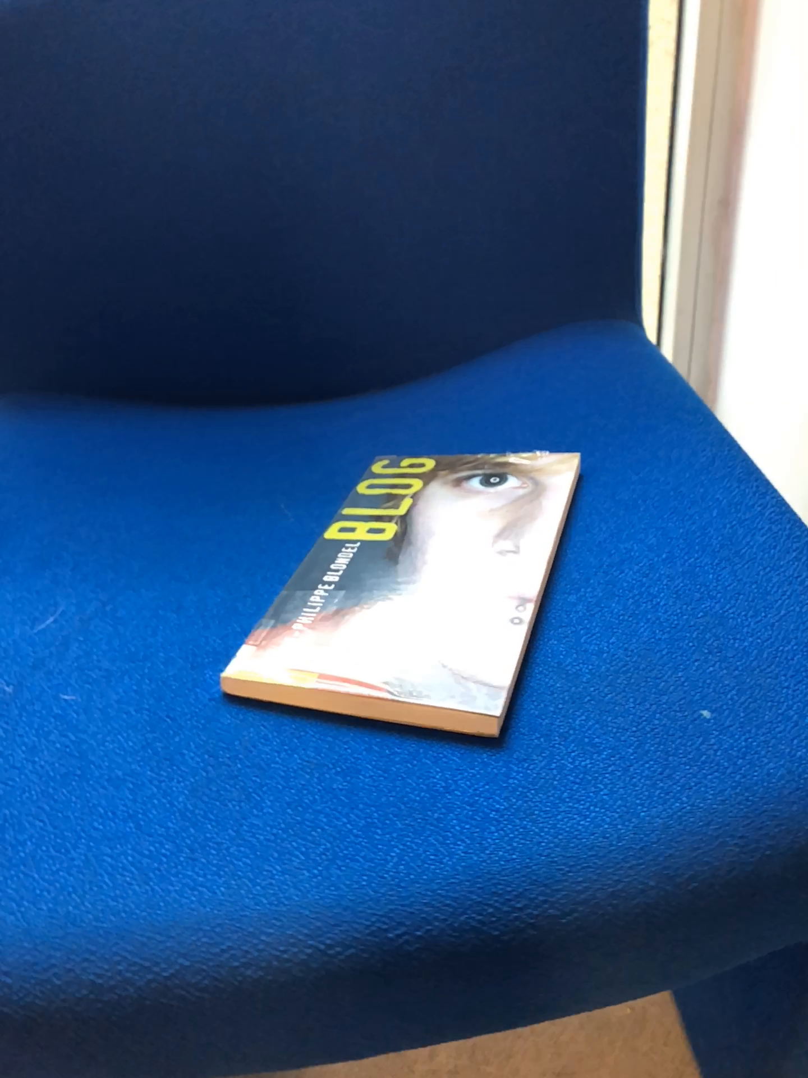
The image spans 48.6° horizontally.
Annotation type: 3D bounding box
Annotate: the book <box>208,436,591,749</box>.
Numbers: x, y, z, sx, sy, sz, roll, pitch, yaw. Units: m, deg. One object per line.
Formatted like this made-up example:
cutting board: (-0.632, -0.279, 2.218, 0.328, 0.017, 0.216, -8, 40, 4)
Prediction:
book: (0.011, 0.011, 0.485, 0.142, 0.018, 0.221, 6, 38, 19)
